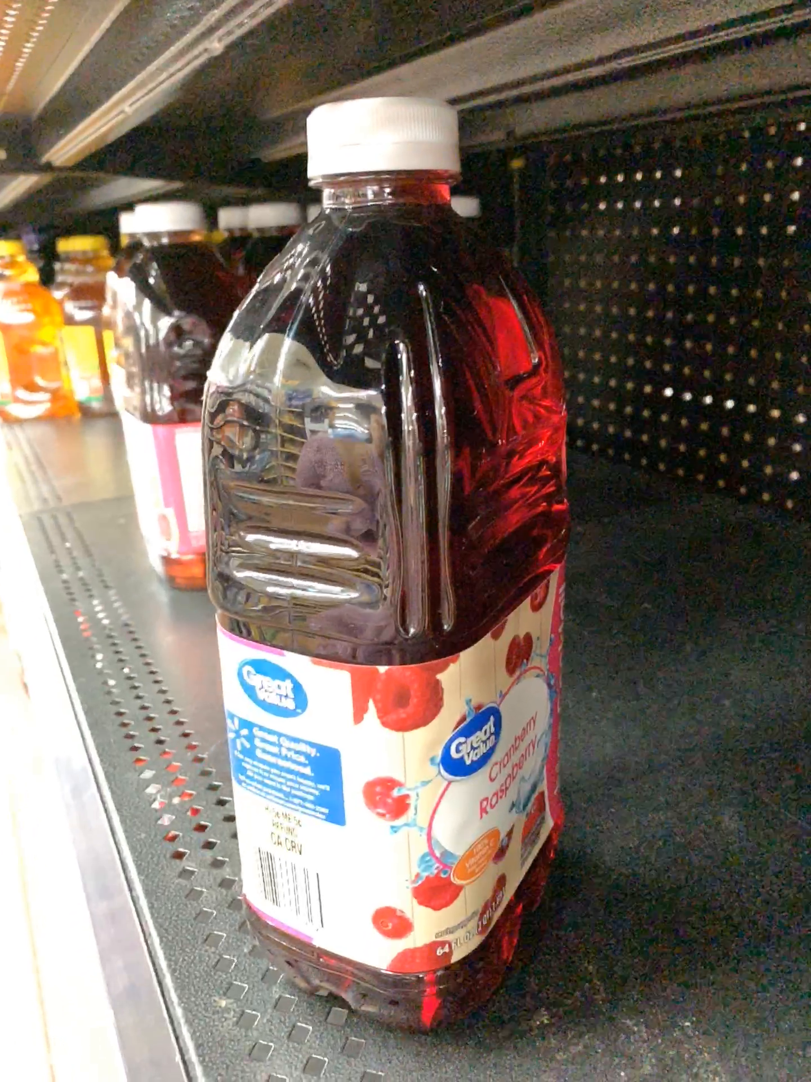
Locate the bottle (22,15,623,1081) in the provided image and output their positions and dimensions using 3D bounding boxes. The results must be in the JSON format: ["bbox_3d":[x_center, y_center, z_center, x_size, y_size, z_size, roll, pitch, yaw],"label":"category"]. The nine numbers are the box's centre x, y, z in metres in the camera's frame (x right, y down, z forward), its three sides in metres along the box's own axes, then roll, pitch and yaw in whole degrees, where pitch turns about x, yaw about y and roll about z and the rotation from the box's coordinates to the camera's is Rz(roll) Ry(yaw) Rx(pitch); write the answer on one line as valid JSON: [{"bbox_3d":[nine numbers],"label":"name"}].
[{"bbox_3d":[-0.002,0.008,0.256,0.100,0.259,0.125,7,23,26],"label":"bottle"}]
